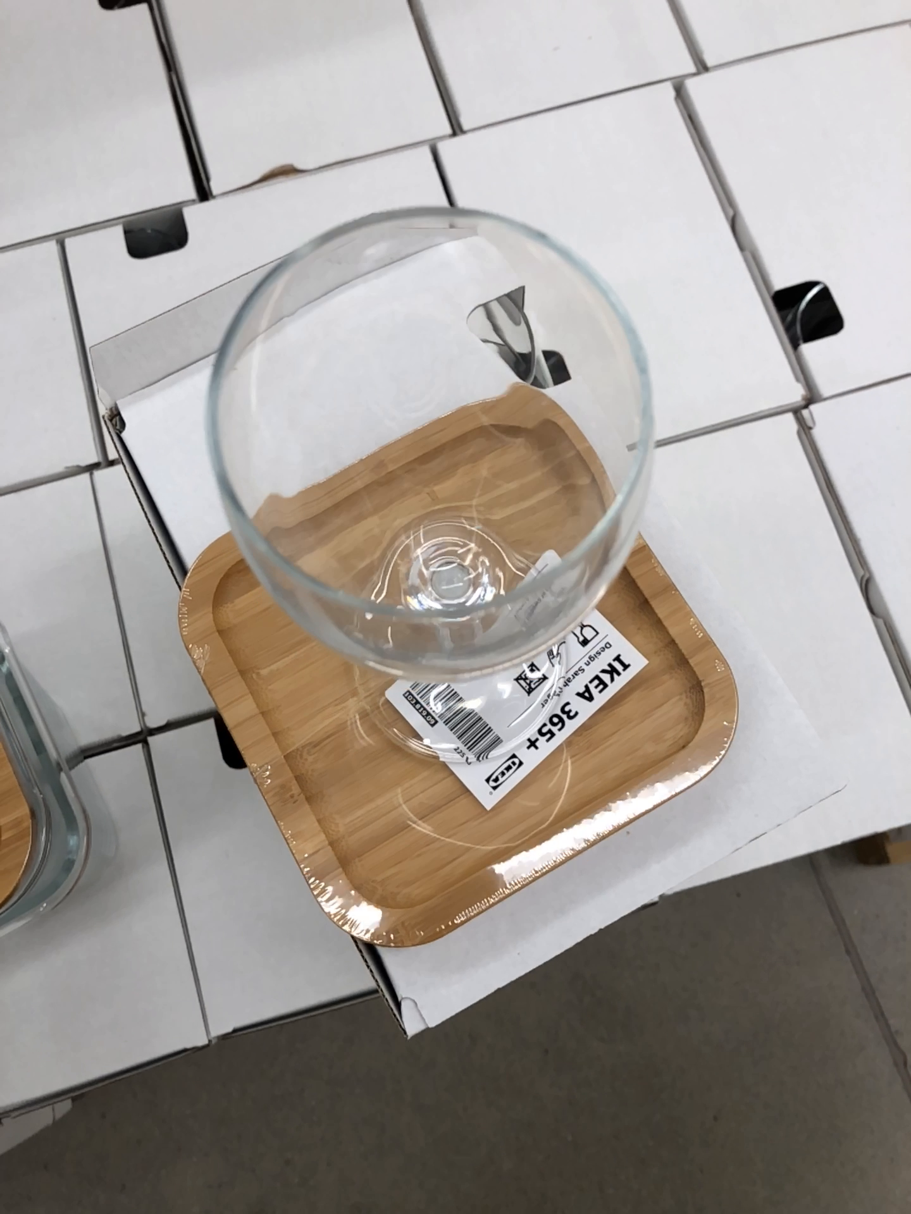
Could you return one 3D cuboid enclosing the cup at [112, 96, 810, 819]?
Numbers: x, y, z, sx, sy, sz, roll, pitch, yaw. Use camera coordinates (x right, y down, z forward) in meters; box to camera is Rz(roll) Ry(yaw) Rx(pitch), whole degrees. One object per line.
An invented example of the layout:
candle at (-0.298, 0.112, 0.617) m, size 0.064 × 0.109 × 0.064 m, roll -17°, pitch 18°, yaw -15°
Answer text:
cup at (0.000, -0.008, 0.236) m, size 0.080 × 0.180 × 0.080 m, roll 0°, pitch 75°, yaw 1°
